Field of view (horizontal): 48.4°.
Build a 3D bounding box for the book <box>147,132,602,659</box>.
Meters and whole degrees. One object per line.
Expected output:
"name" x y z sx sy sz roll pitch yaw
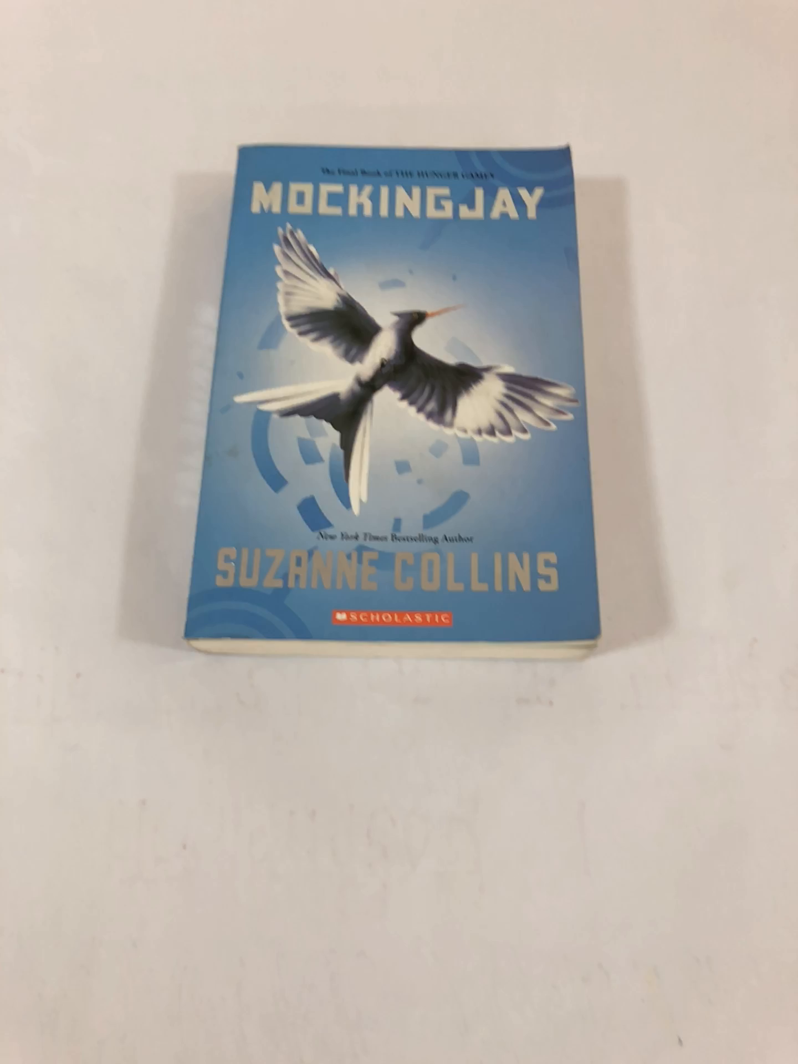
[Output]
"book" -0.006 -0.054 0.315 0.138 0.029 0.191 1 71 0
